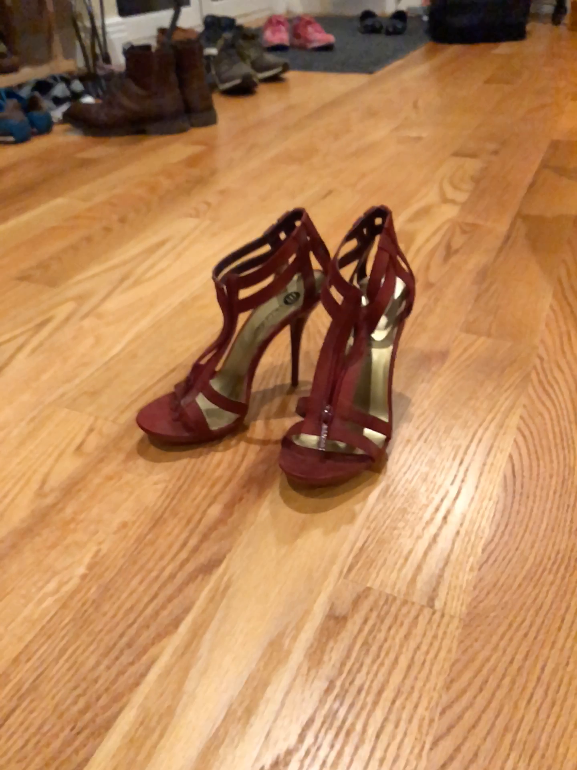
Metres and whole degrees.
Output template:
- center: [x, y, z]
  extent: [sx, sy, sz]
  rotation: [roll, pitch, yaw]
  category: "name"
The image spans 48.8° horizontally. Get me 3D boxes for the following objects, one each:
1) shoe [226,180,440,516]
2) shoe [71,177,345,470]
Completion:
- center: [0.046, -0.041, 0.505]
  extent: [0.085, 0.175, 0.207]
  rotation: [13, 37, 21]
  category: "shoe"
- center: [-0.055, -0.059, 0.546]
  extent: [0.199, 0.175, 0.085]
  rotation: [-26, 41, -30]
  category: "shoe"
